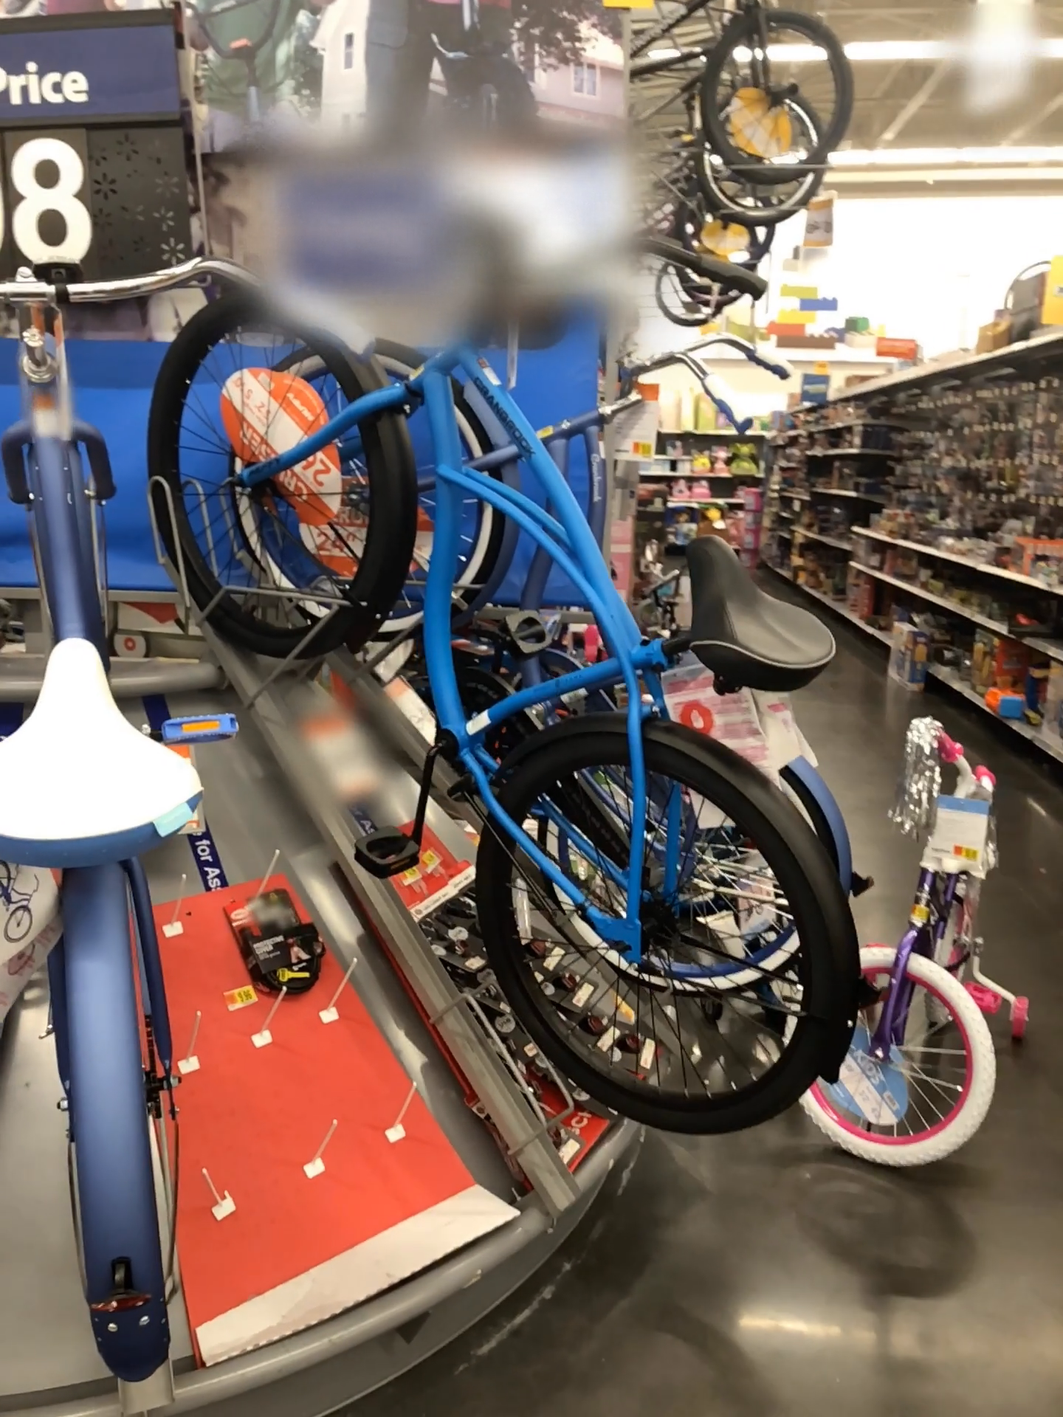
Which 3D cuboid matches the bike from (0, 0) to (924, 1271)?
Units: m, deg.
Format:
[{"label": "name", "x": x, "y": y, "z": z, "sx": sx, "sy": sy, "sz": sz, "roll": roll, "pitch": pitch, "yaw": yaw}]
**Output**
[{"label": "bike", "x": -0.116, "y": -0.548, "z": 1.745, "sx": 1.560, "sy": 1.122, "sz": 0.505, "roll": 36, "pitch": 26, "yaw": 23}]
